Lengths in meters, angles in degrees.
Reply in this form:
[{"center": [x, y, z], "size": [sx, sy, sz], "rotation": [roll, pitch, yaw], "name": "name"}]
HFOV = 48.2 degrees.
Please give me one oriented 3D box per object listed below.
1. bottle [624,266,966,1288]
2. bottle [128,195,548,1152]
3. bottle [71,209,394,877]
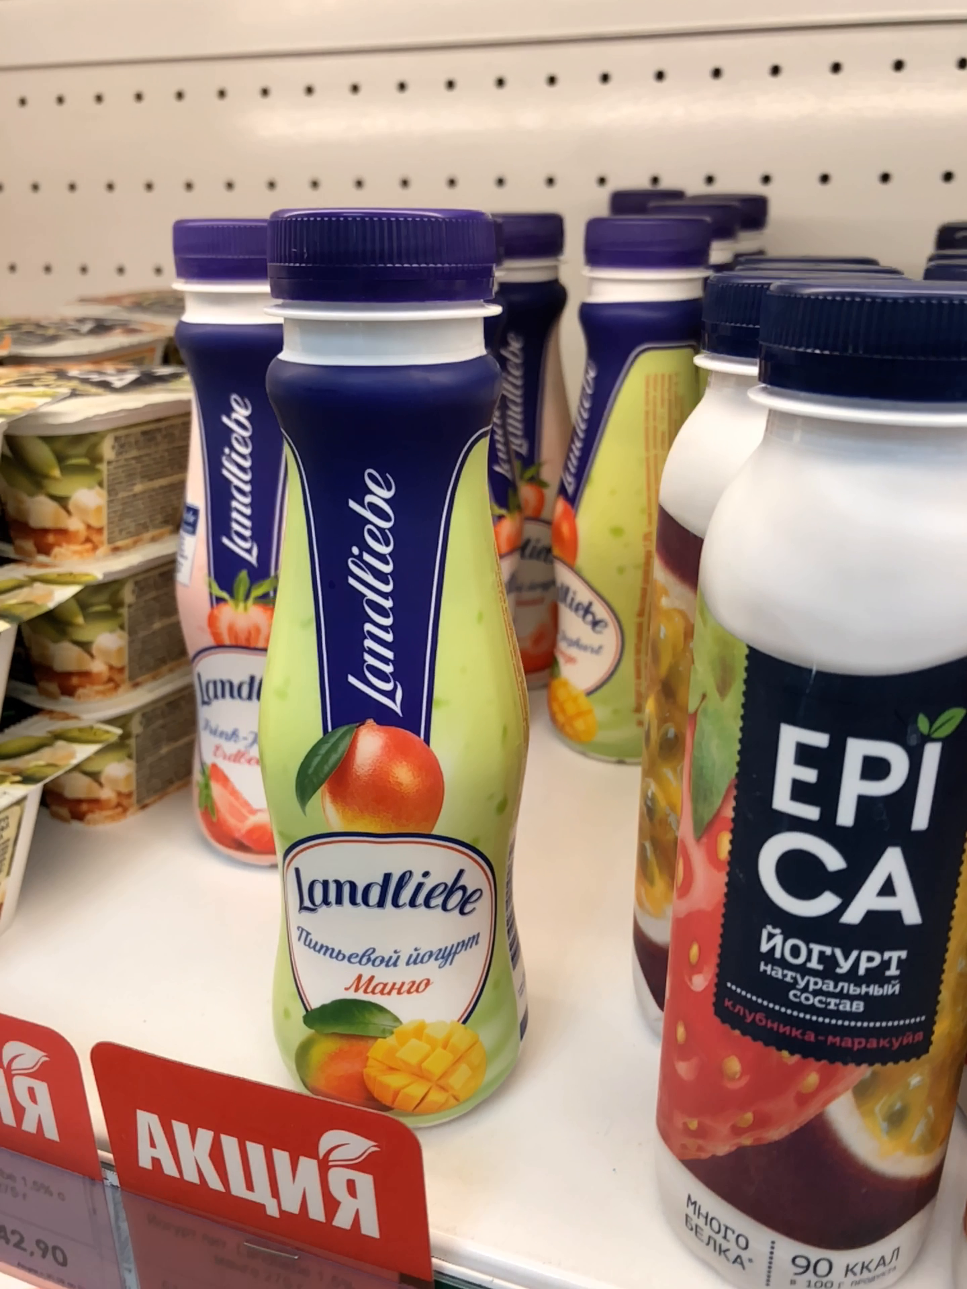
[{"center": [0.057, 0.029, 0.181], "size": [0.051, 0.173, 0.048], "rotation": [-1, 21, 0], "name": "bottle"}, {"center": [-0.020, 0.007, 0.214], "size": [0.055, 0.177, 0.054], "rotation": [-1, 21, 0], "name": "bottle"}, {"center": [-0.064, -0.028, 0.309], "size": [0.056, 0.179, 0.054], "rotation": [-1, 21, 0], "name": "bottle"}]
